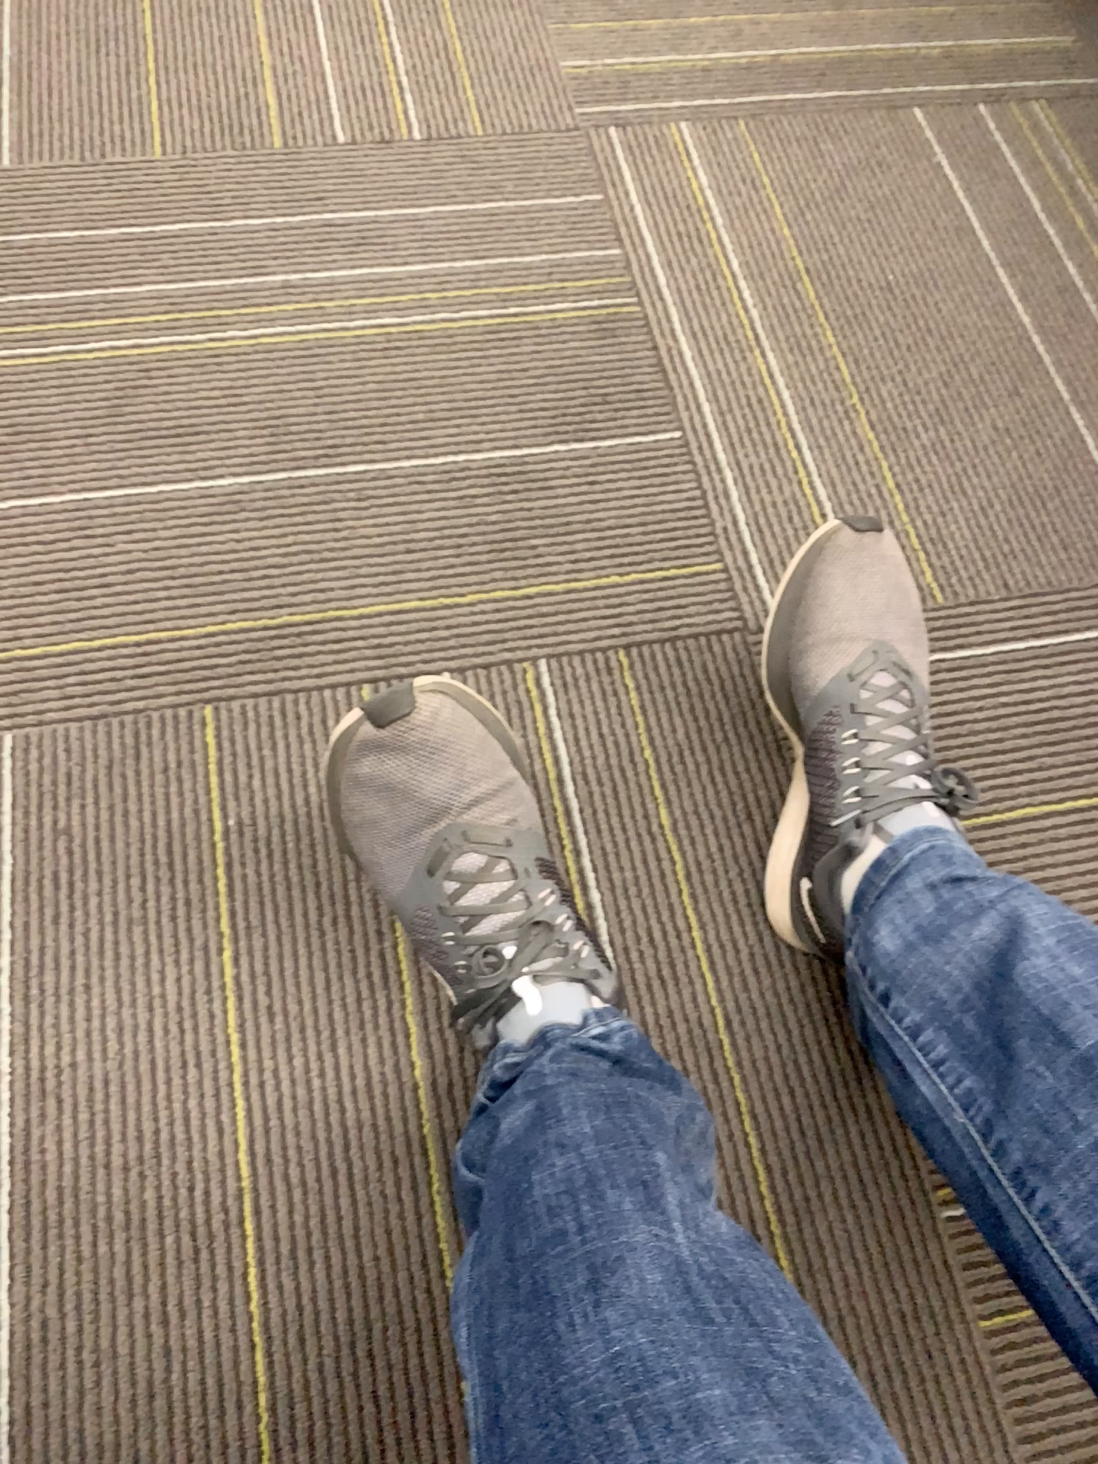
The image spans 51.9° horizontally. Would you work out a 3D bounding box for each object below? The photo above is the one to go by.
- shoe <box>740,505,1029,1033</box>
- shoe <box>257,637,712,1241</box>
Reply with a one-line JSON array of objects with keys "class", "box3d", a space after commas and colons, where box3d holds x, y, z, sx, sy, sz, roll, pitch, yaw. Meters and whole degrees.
[{"class": "shoe", "box3d": [0.198, 0.014, 0.693, 0.119, 0.122, 0.294, -4, 100, -13]}, {"class": "shoe", "box3d": [-0.027, 0.118, 0.610, 0.119, 0.293, 0.122, -28, 34, -9]}]
